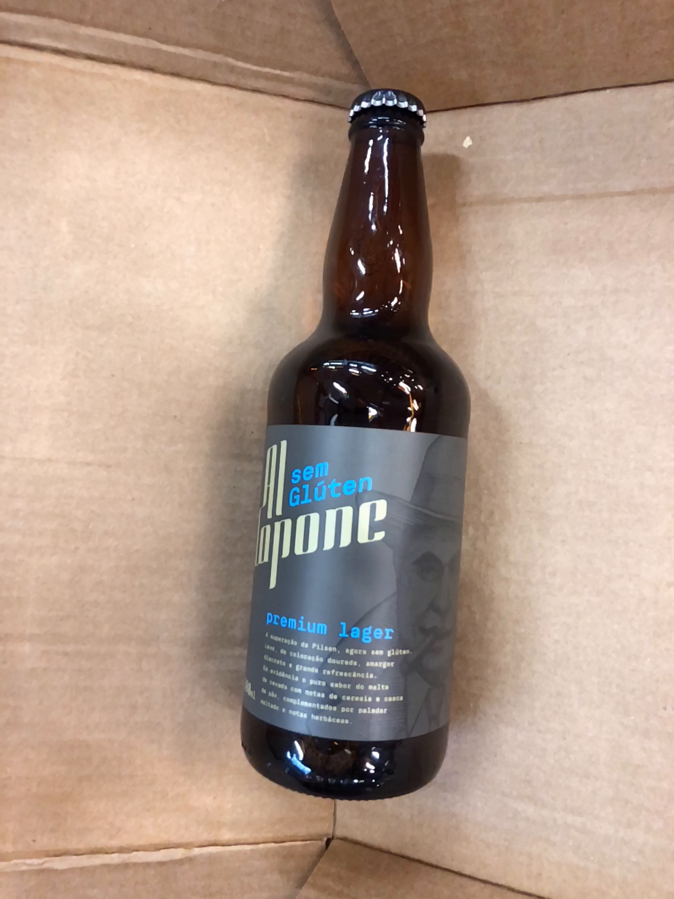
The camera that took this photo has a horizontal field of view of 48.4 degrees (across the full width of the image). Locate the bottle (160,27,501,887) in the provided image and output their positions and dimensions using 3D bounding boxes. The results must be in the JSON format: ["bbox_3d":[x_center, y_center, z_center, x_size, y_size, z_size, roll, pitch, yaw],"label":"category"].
[{"bbox_3d":[0.004,-0.003,0.244,0.080,0.060,0.240,4,85,10],"label":"bottle"}]
